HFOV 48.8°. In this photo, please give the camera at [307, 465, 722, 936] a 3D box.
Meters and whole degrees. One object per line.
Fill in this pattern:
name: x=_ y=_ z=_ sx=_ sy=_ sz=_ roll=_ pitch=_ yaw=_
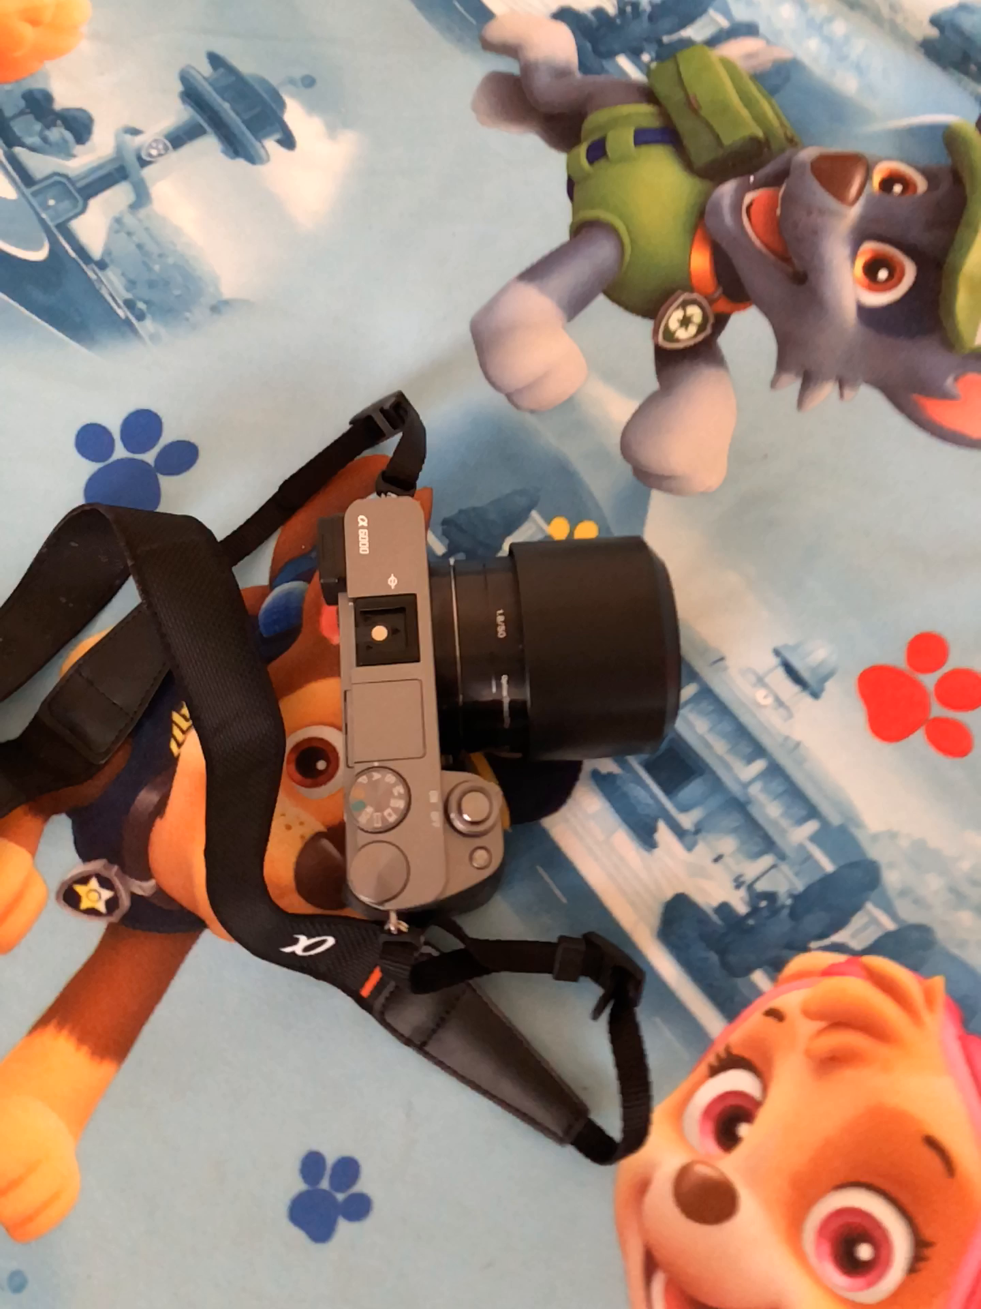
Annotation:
camera: x=0.004 y=0.019 z=0.352 sx=0.110 sy=0.080 sz=0.130 roll=-4 pitch=73 yaw=-1
